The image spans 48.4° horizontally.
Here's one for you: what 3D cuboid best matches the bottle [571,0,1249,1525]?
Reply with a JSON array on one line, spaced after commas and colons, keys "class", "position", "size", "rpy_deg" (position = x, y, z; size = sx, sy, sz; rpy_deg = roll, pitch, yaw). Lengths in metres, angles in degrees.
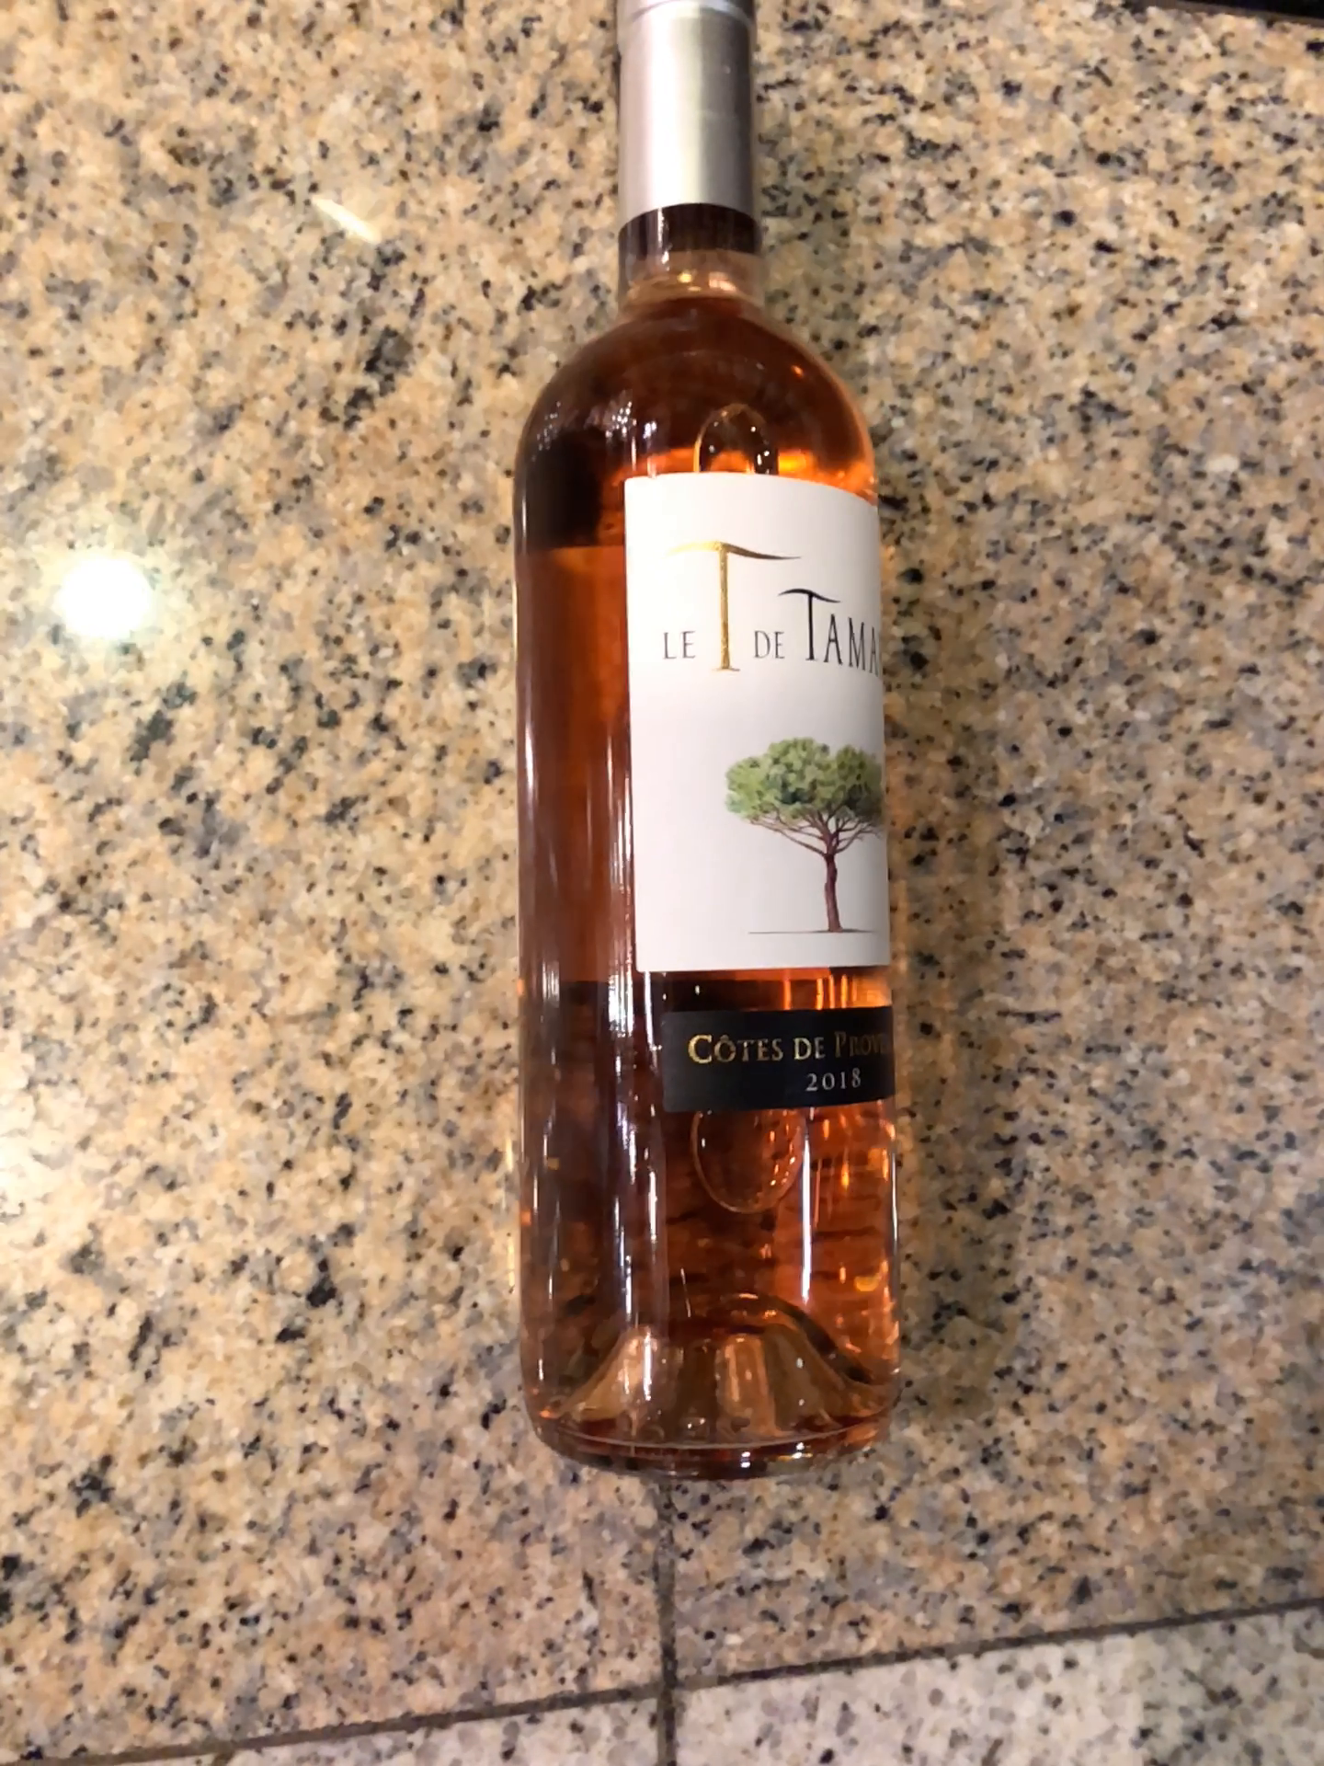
[{"class": "bottle", "position": [0.036, -0.065, 0.270], "size": [0.090, 0.080, 0.320], "rpy_deg": [-1, 87, -11]}]
